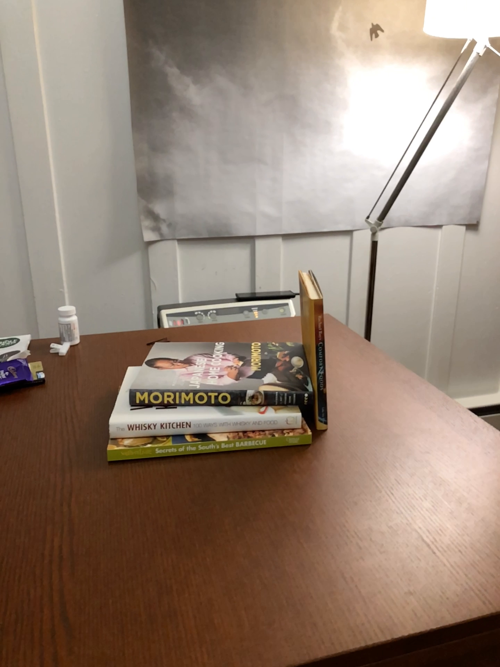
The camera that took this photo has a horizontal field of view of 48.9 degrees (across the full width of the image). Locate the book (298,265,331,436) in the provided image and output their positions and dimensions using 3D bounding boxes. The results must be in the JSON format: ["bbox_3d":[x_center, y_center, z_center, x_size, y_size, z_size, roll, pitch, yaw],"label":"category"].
[{"bbox_3d":[0.099,0.016,0.866,0.030,0.209,0.211,-2,17,2],"label":"book"}]

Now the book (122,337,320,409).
[{"bbox_3d":[-0.042,0.057,0.887,0.280,0.030,0.221,0,19,-1],"label":"book"}]

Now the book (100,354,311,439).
[{"bbox_3d":[-0.069,0.088,0.843,0.280,0.030,0.221,-1,19,-6],"label":"book"}]

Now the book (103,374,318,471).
[{"bbox_3d":[-0.064,0.123,0.827,0.280,0.030,0.221,-2,19,-8],"label":"book"}]
